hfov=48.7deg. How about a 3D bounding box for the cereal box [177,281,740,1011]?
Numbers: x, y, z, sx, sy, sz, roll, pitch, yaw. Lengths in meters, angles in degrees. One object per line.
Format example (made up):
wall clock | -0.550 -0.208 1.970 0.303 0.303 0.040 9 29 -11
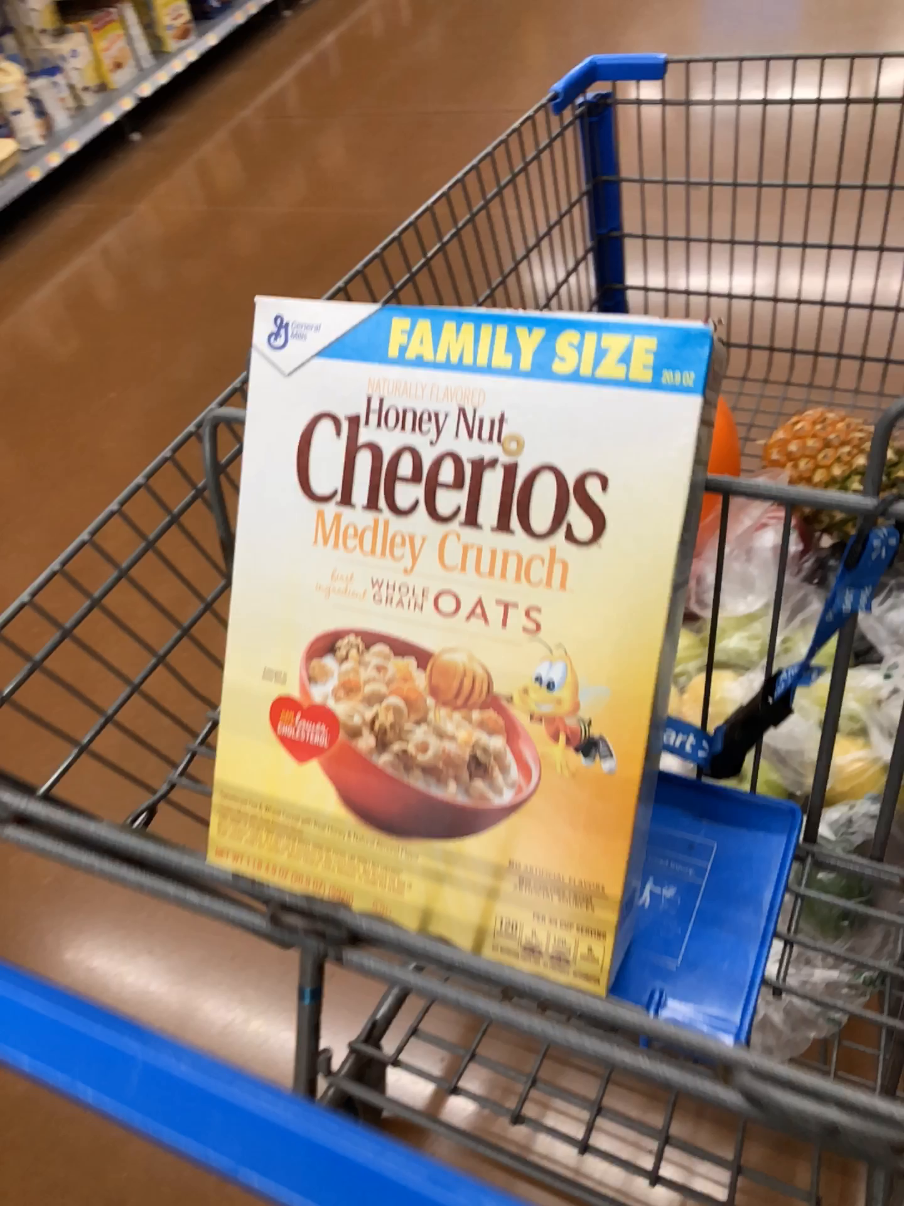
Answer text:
cereal box | -0.008 0.009 0.523 0.251 0.320 0.070 11 9 23
